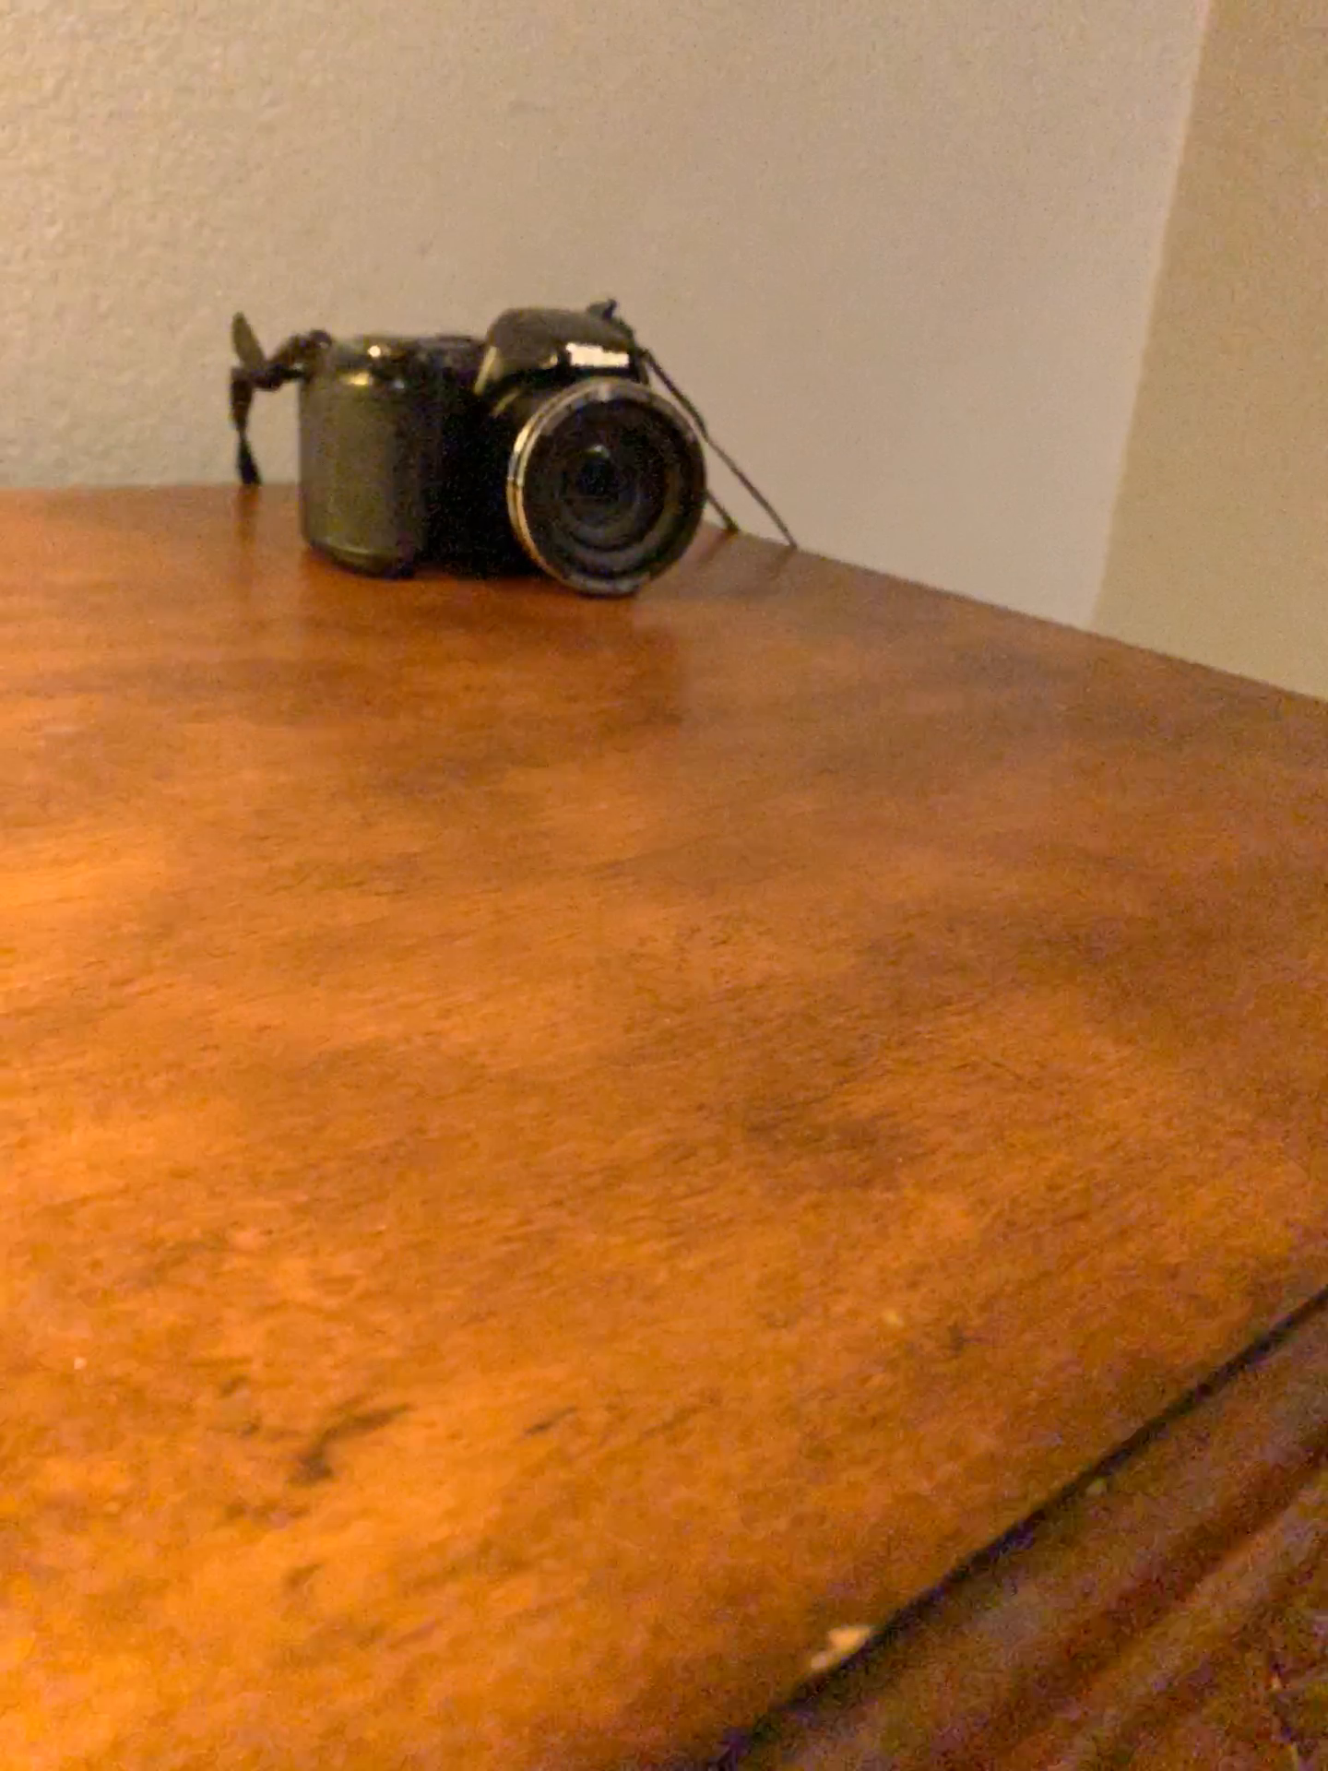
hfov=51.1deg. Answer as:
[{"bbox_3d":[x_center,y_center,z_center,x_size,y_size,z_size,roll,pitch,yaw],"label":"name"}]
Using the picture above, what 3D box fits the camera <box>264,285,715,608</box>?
[{"bbox_3d":[-0.063,-0.146,0.452,0.110,0.081,0.123,-6,25,-23],"label":"camera"}]
